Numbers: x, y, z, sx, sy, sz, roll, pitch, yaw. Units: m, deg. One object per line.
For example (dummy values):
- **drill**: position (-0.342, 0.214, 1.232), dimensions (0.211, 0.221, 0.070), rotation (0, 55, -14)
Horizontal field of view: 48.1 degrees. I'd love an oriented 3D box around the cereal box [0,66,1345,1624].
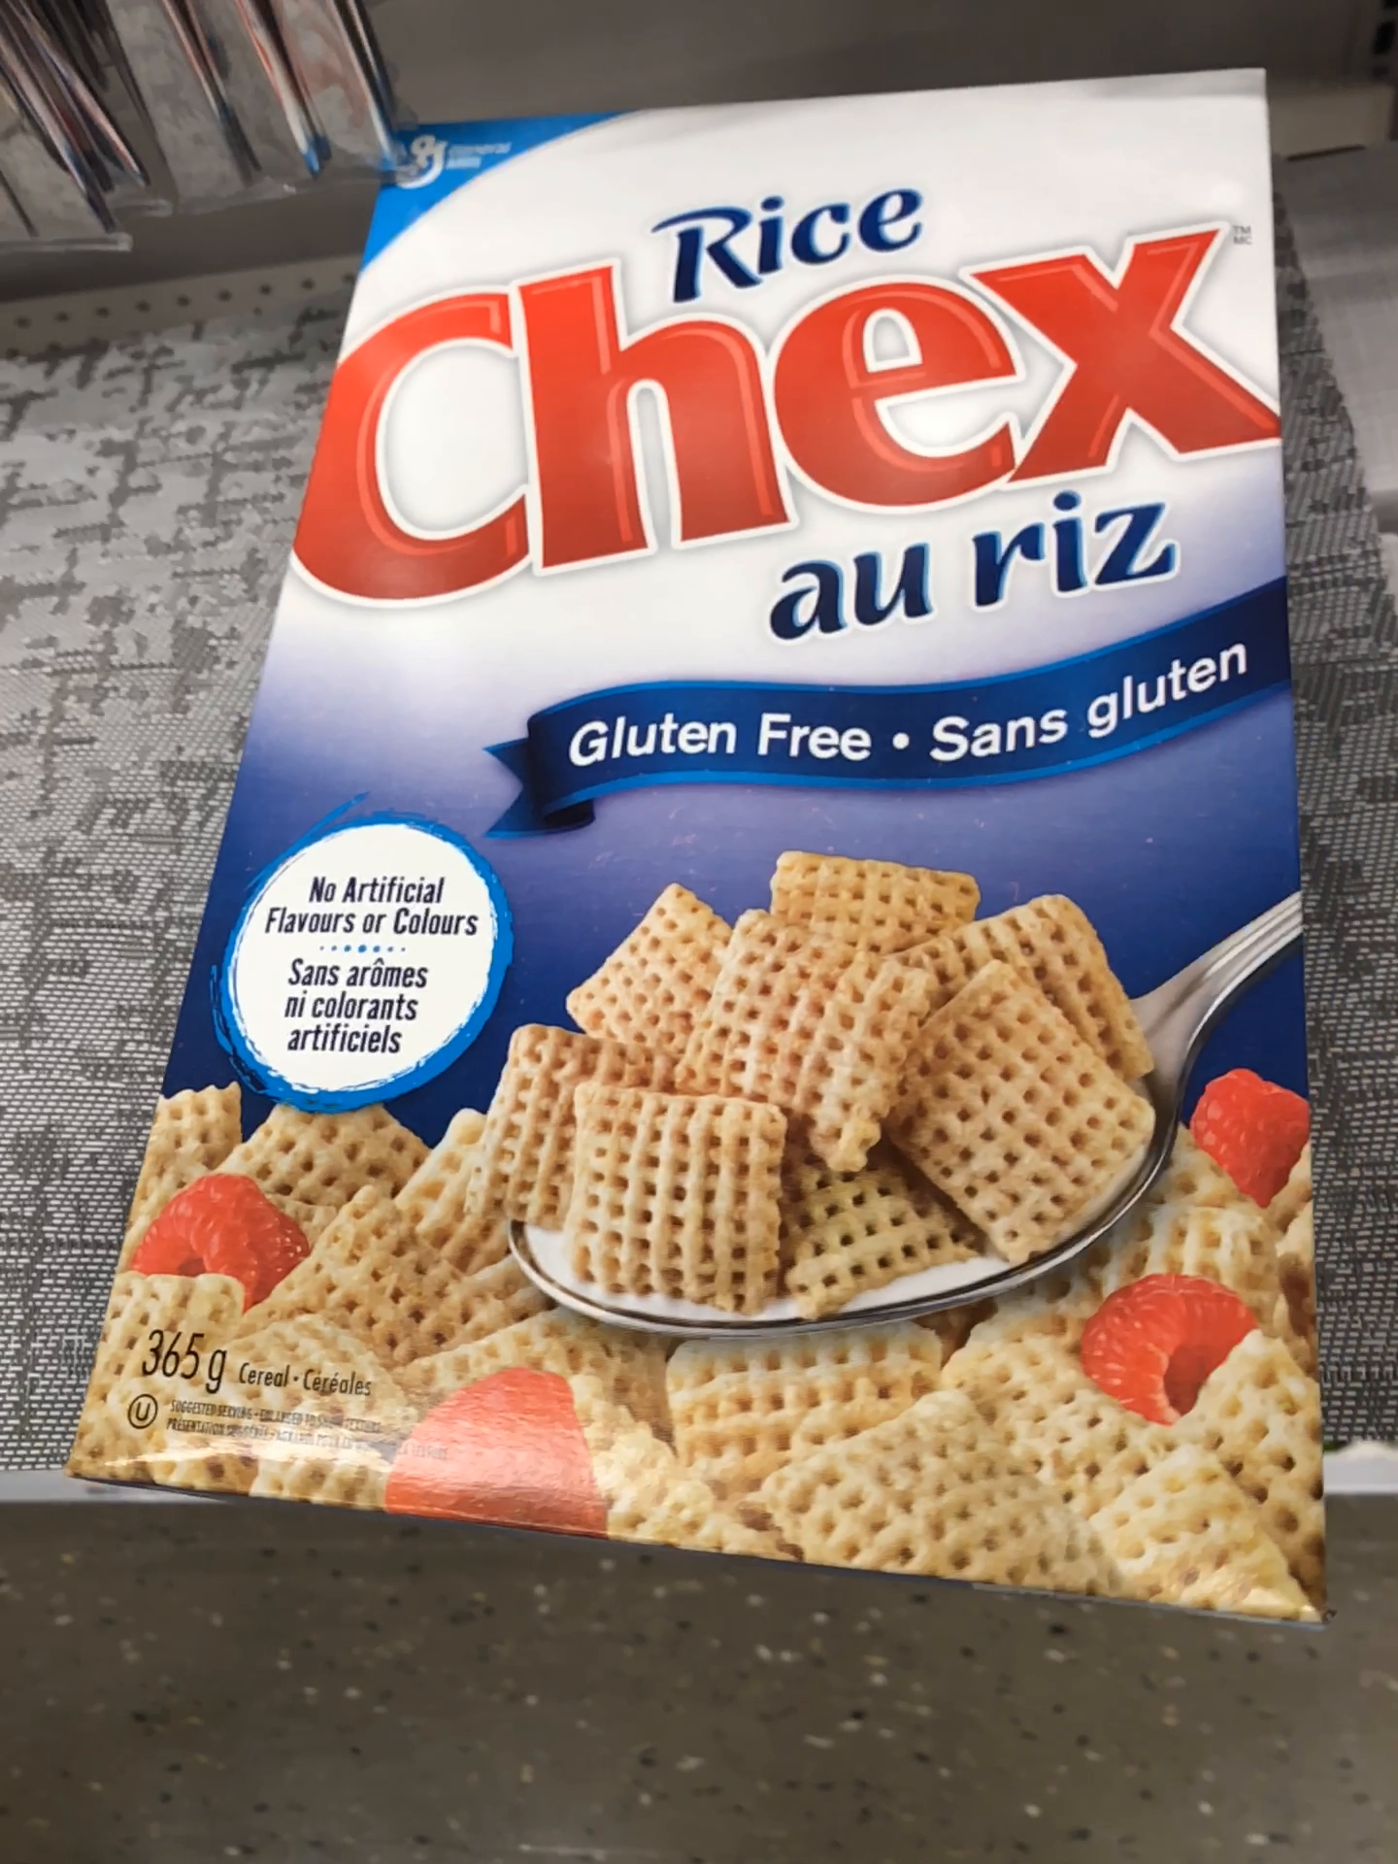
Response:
- **cereal box**: position (0.006, -0.035, 0.320), dimensions (0.210, 0.070, 0.300), rotation (3, 67, 10)
